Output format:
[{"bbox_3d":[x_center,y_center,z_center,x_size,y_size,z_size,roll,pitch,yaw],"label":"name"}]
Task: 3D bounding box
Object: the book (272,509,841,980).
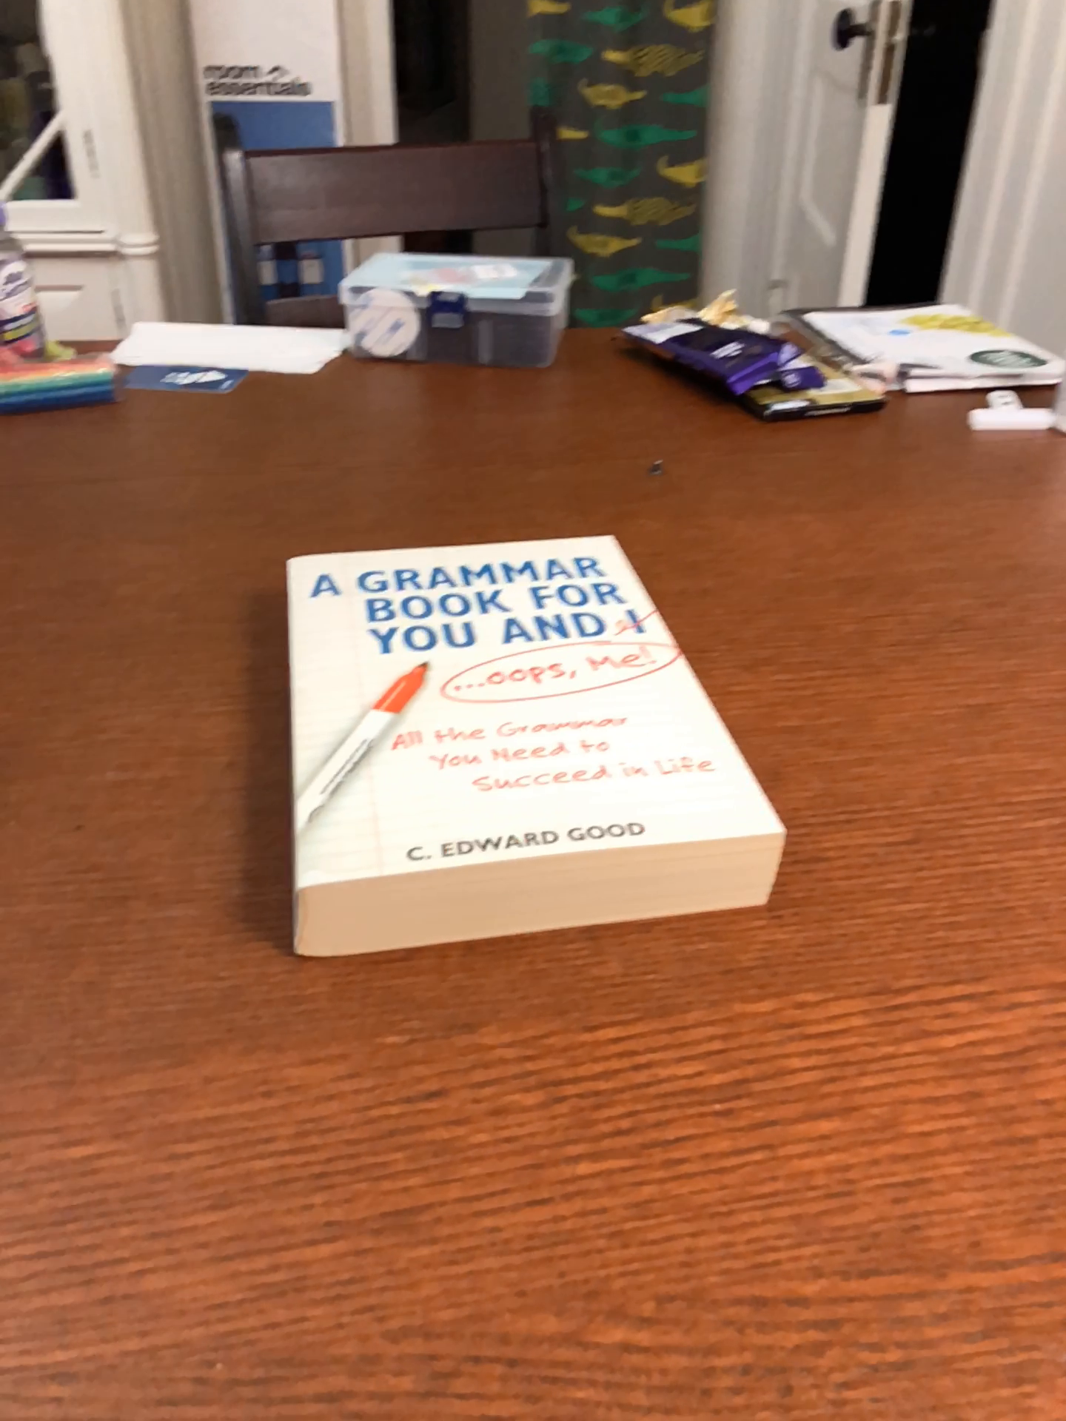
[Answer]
[{"bbox_3d":[-0.012,-0.008,0.454,0.170,0.040,0.241,-5,33,-9],"label":"book"}]
